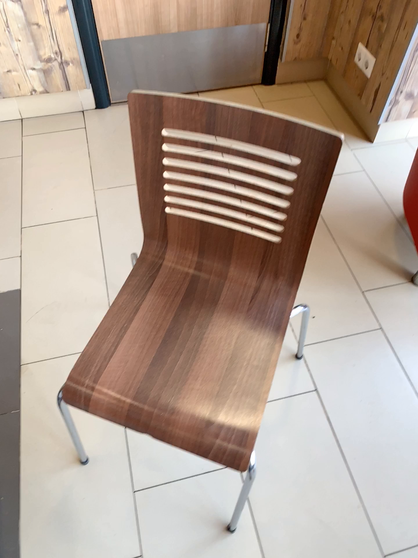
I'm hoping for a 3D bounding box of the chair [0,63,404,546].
[{"bbox_3d":[-0.038,0.118,0.937,0.544,0.795,0.593,18,56,12],"label":"chair"}]
